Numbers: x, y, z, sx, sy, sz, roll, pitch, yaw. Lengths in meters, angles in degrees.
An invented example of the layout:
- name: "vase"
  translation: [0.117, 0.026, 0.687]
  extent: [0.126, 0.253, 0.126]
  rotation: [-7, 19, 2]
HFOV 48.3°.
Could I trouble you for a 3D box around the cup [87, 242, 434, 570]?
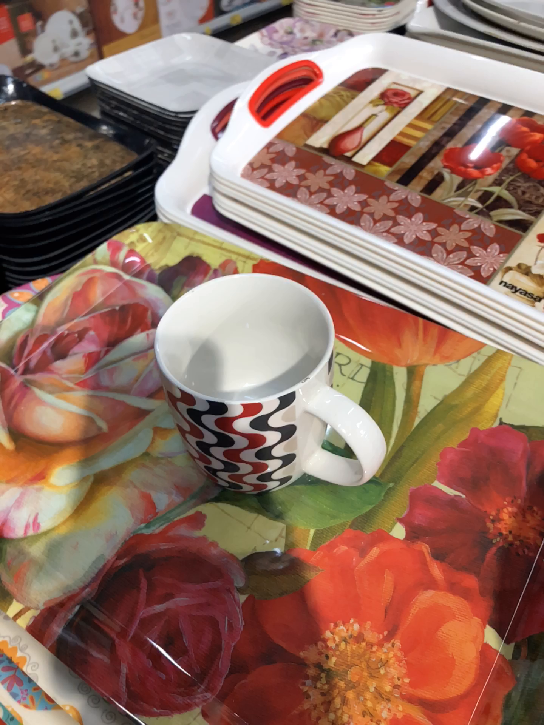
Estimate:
- name: "cup"
  translation: [-0.005, 0.016, 0.305]
  extent: [0.130, 0.080, 0.091]
  rotation: [25, 52, 22]
